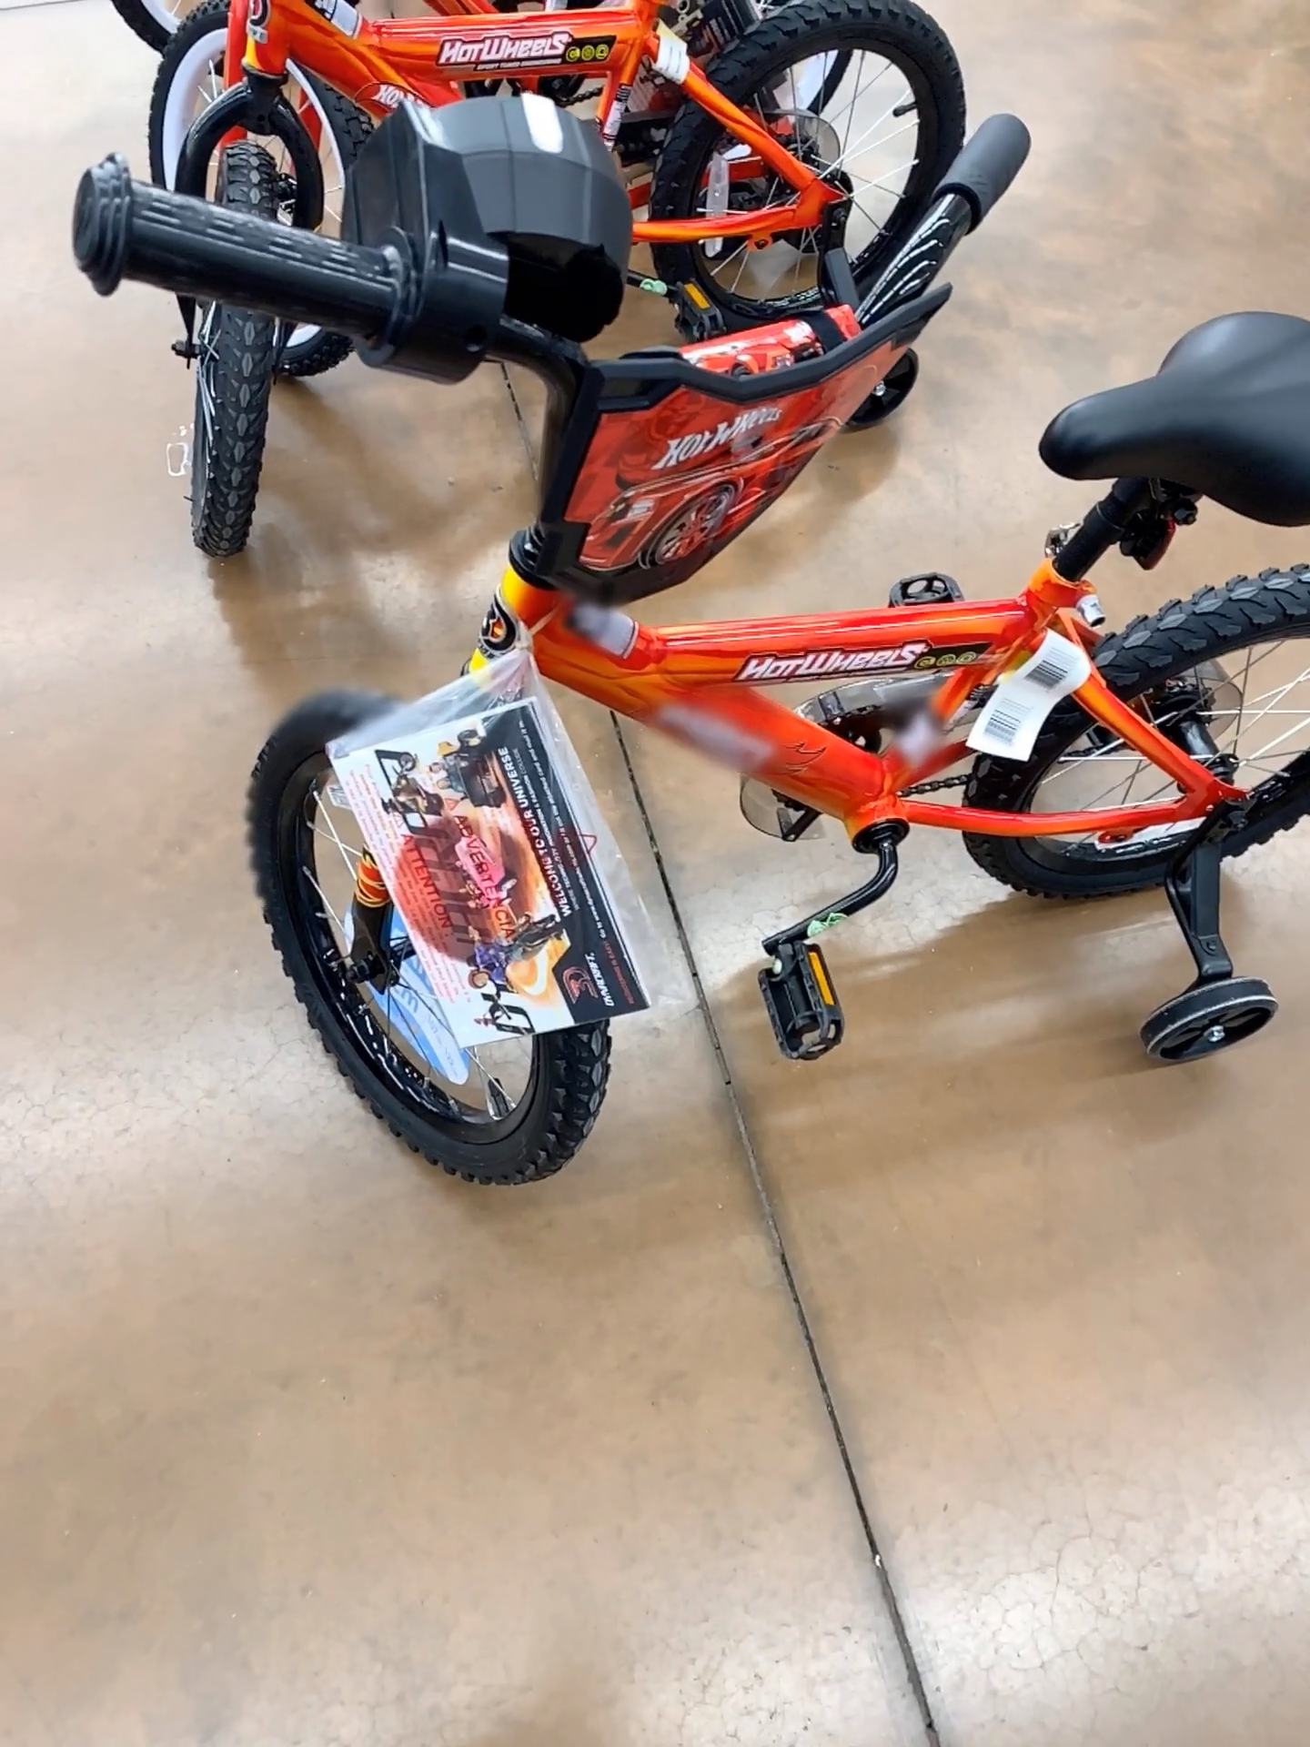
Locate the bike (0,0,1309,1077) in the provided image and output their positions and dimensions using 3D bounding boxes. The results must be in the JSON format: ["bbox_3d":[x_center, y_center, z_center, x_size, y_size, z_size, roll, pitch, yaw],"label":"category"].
[{"bbox_3d":[0.129,-0.267,1.035,0.994,0.822,0.504,-7,58,1],"label":"bike"}]
